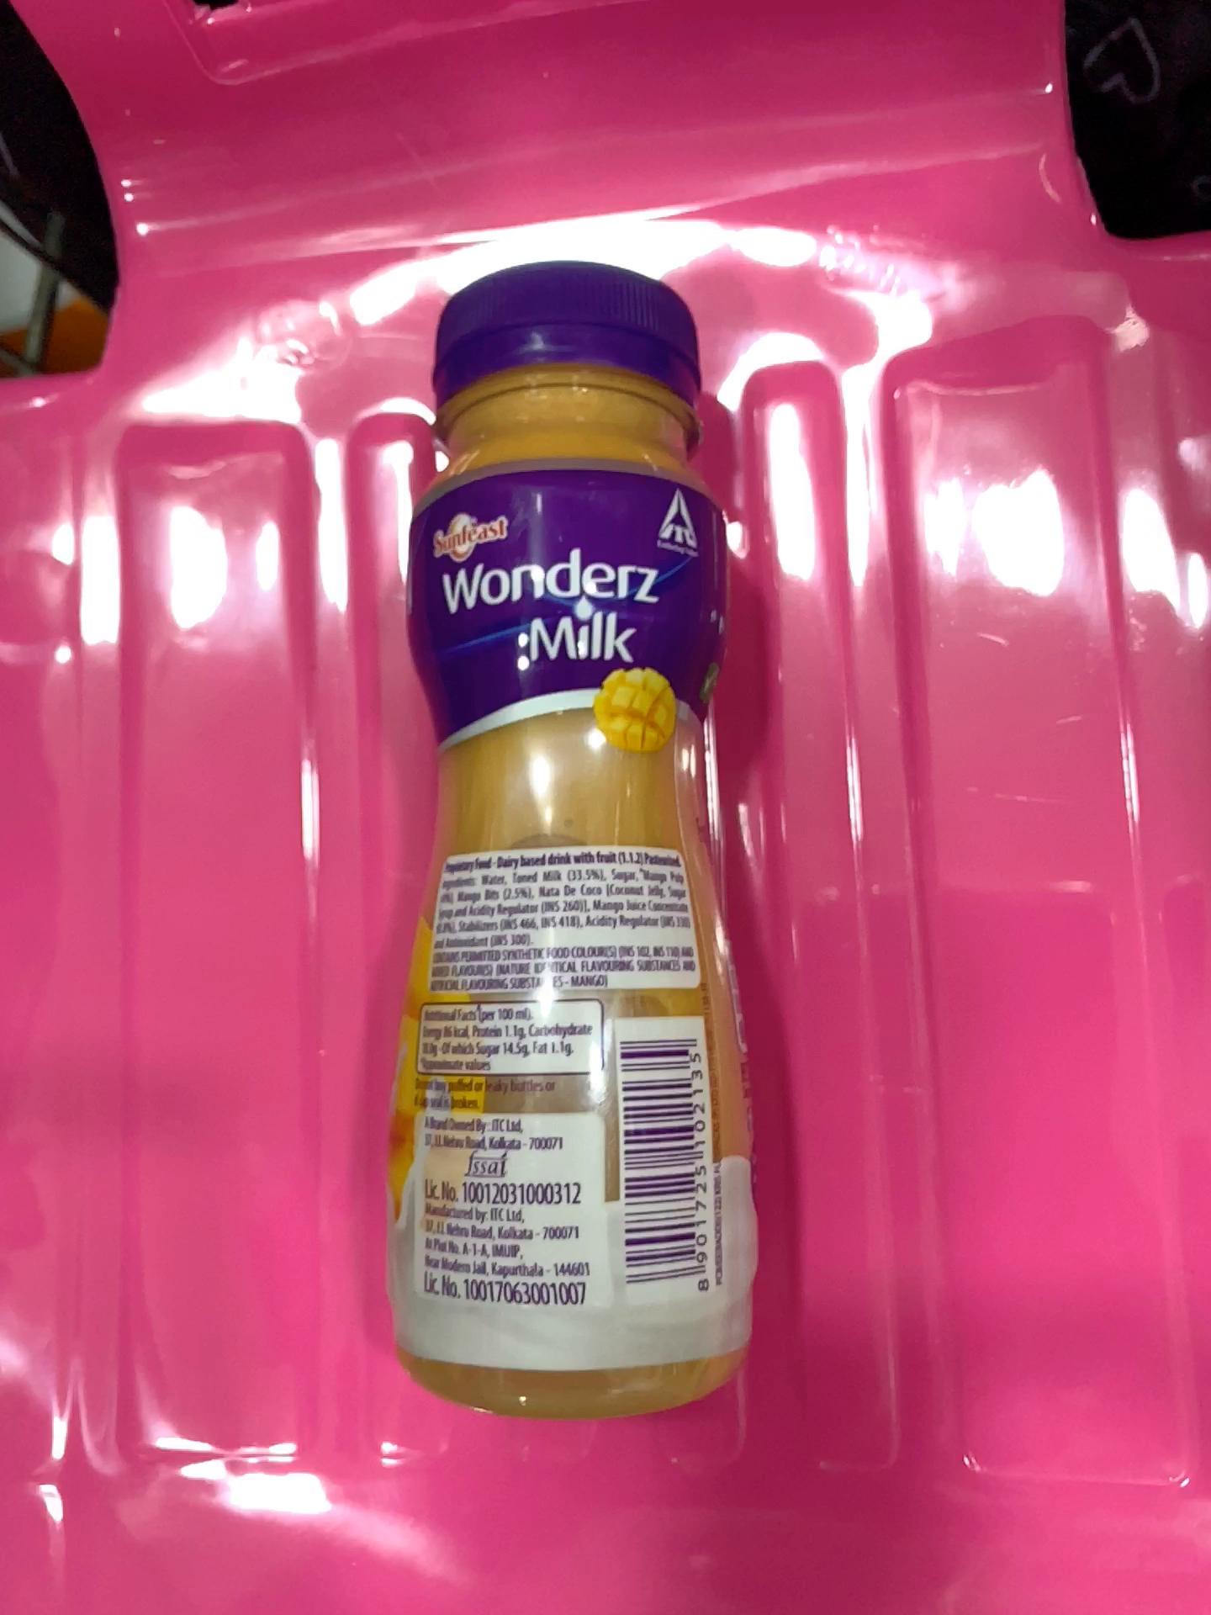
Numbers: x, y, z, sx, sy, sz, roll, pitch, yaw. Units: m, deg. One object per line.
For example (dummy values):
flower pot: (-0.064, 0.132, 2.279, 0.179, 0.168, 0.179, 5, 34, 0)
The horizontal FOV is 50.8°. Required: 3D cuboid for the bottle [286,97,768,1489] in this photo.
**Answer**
bottle: (-0.008, -0.002, 0.175, 0.050, 0.050, 0.160, -3, 86, 10)
